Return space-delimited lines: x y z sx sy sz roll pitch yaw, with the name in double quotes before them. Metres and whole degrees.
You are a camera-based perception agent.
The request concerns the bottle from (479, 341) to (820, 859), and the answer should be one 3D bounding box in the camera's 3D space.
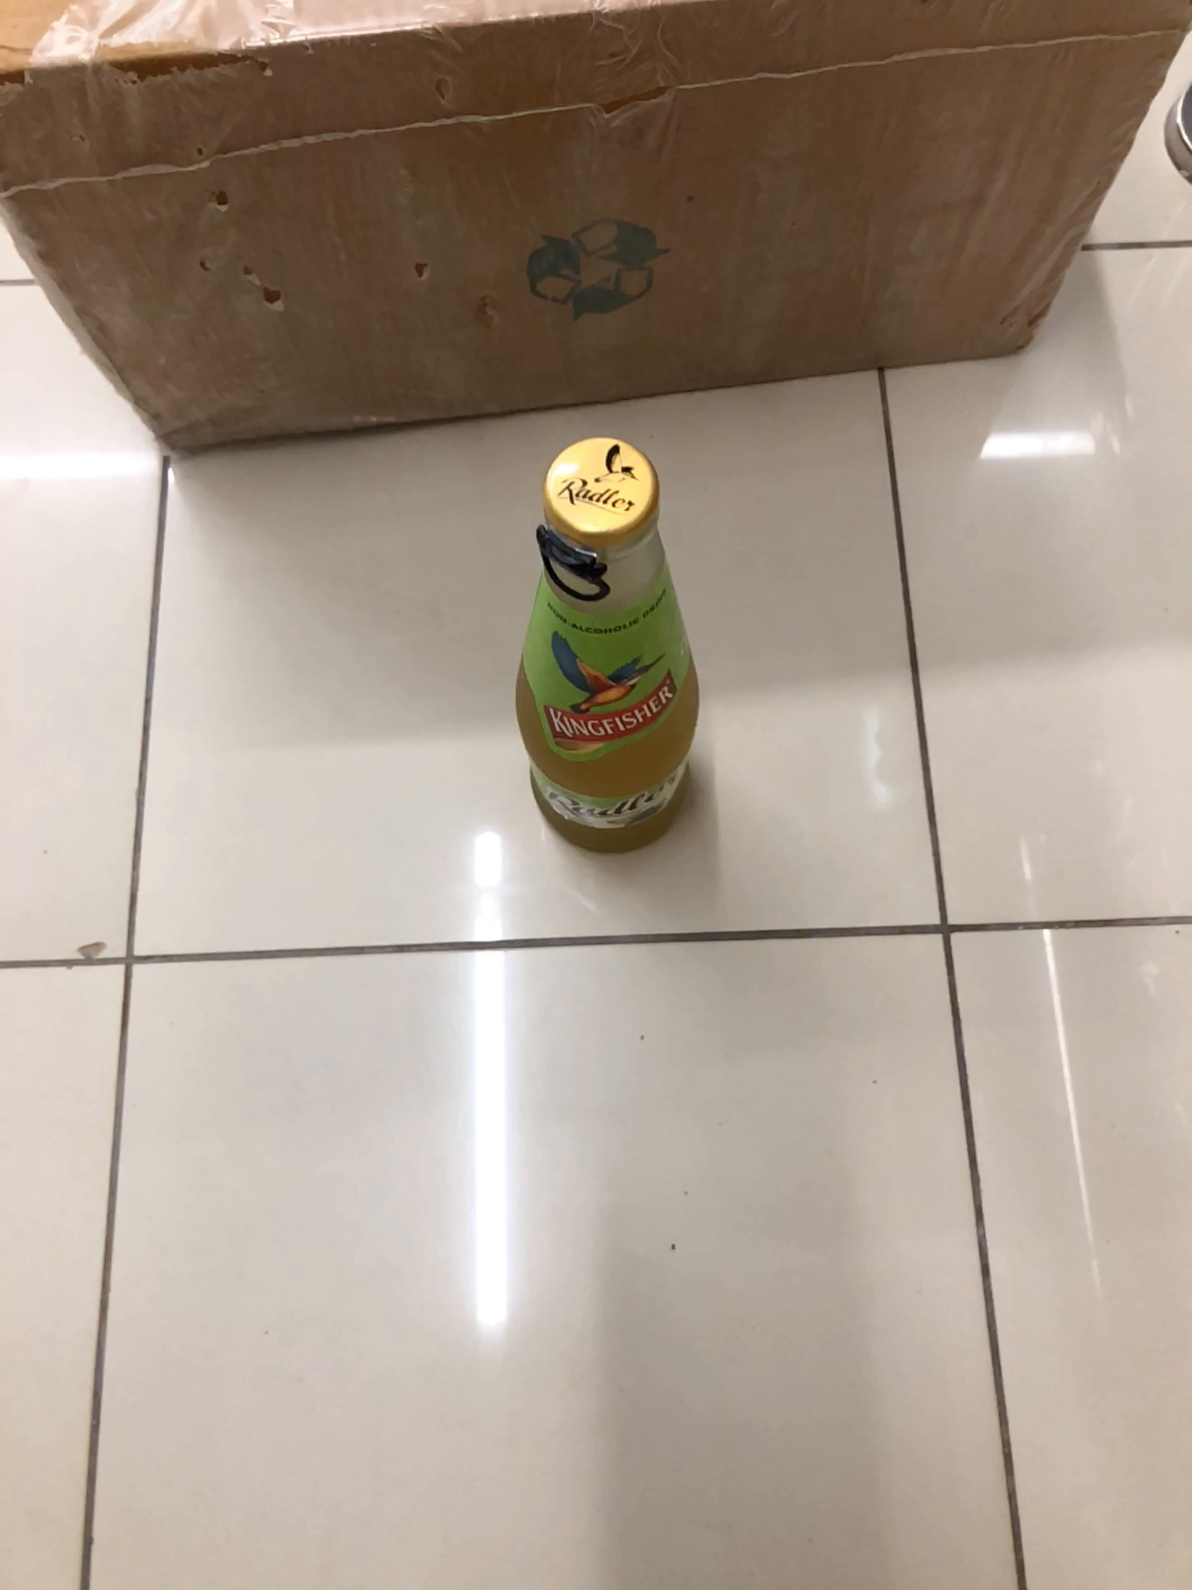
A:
"bottle" 0.012 -0.039 0.384 0.070 0.210 0.060 -3 72 0
